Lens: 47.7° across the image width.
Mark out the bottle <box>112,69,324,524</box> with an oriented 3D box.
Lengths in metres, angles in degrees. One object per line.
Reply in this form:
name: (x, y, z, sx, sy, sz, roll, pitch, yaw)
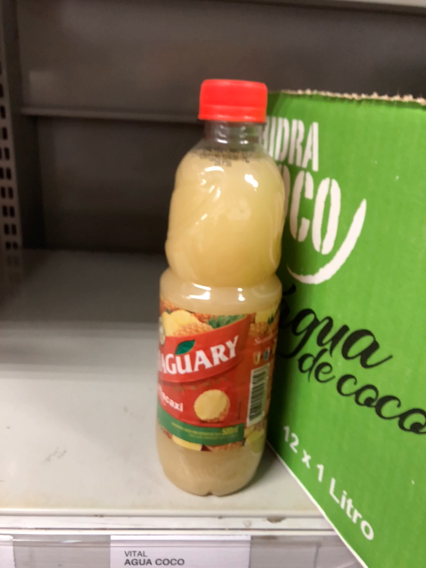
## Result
bottle: (-0.002, 0.006, 0.247, 0.070, 0.209, 0.060, 19, 27, 36)
